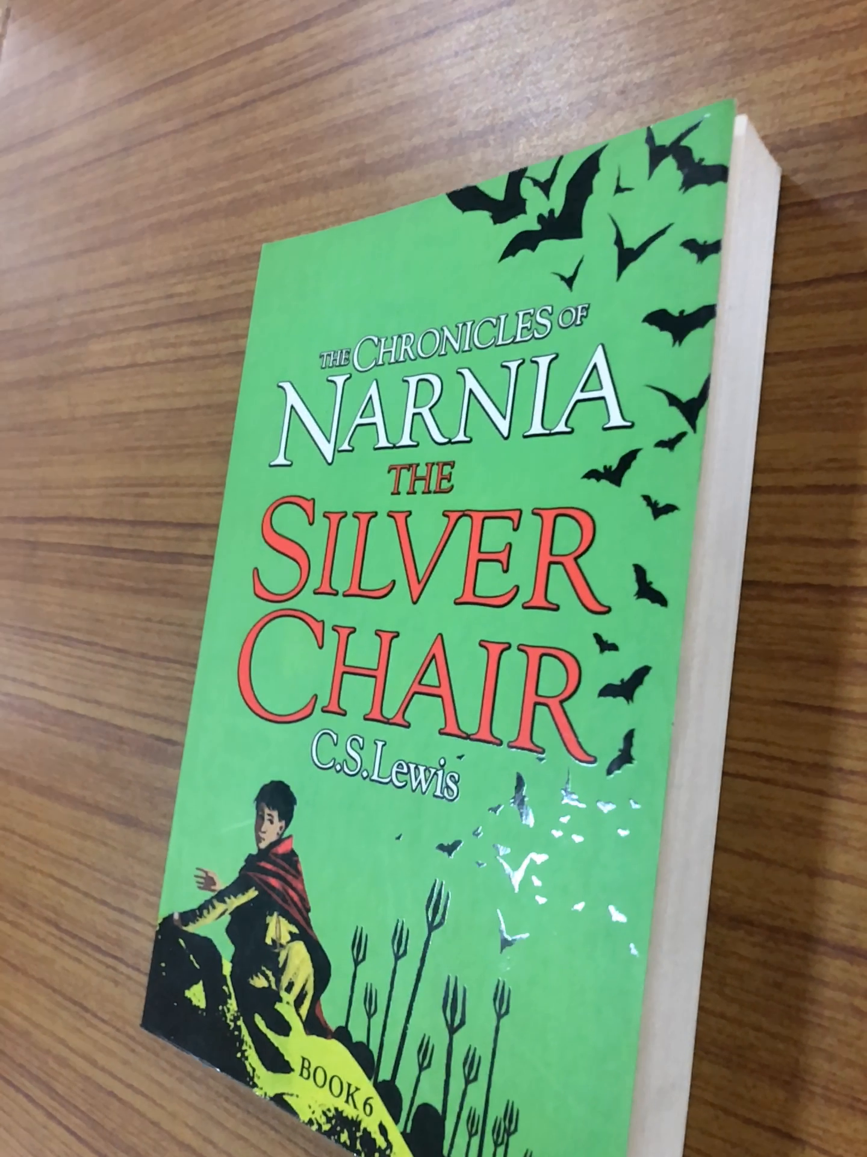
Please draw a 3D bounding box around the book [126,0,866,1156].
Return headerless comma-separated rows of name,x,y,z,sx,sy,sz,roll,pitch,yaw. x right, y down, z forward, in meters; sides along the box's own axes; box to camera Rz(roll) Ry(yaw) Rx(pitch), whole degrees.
book,0.004,0.007,0.203,0.141,0.030,0.210,3,83,40
